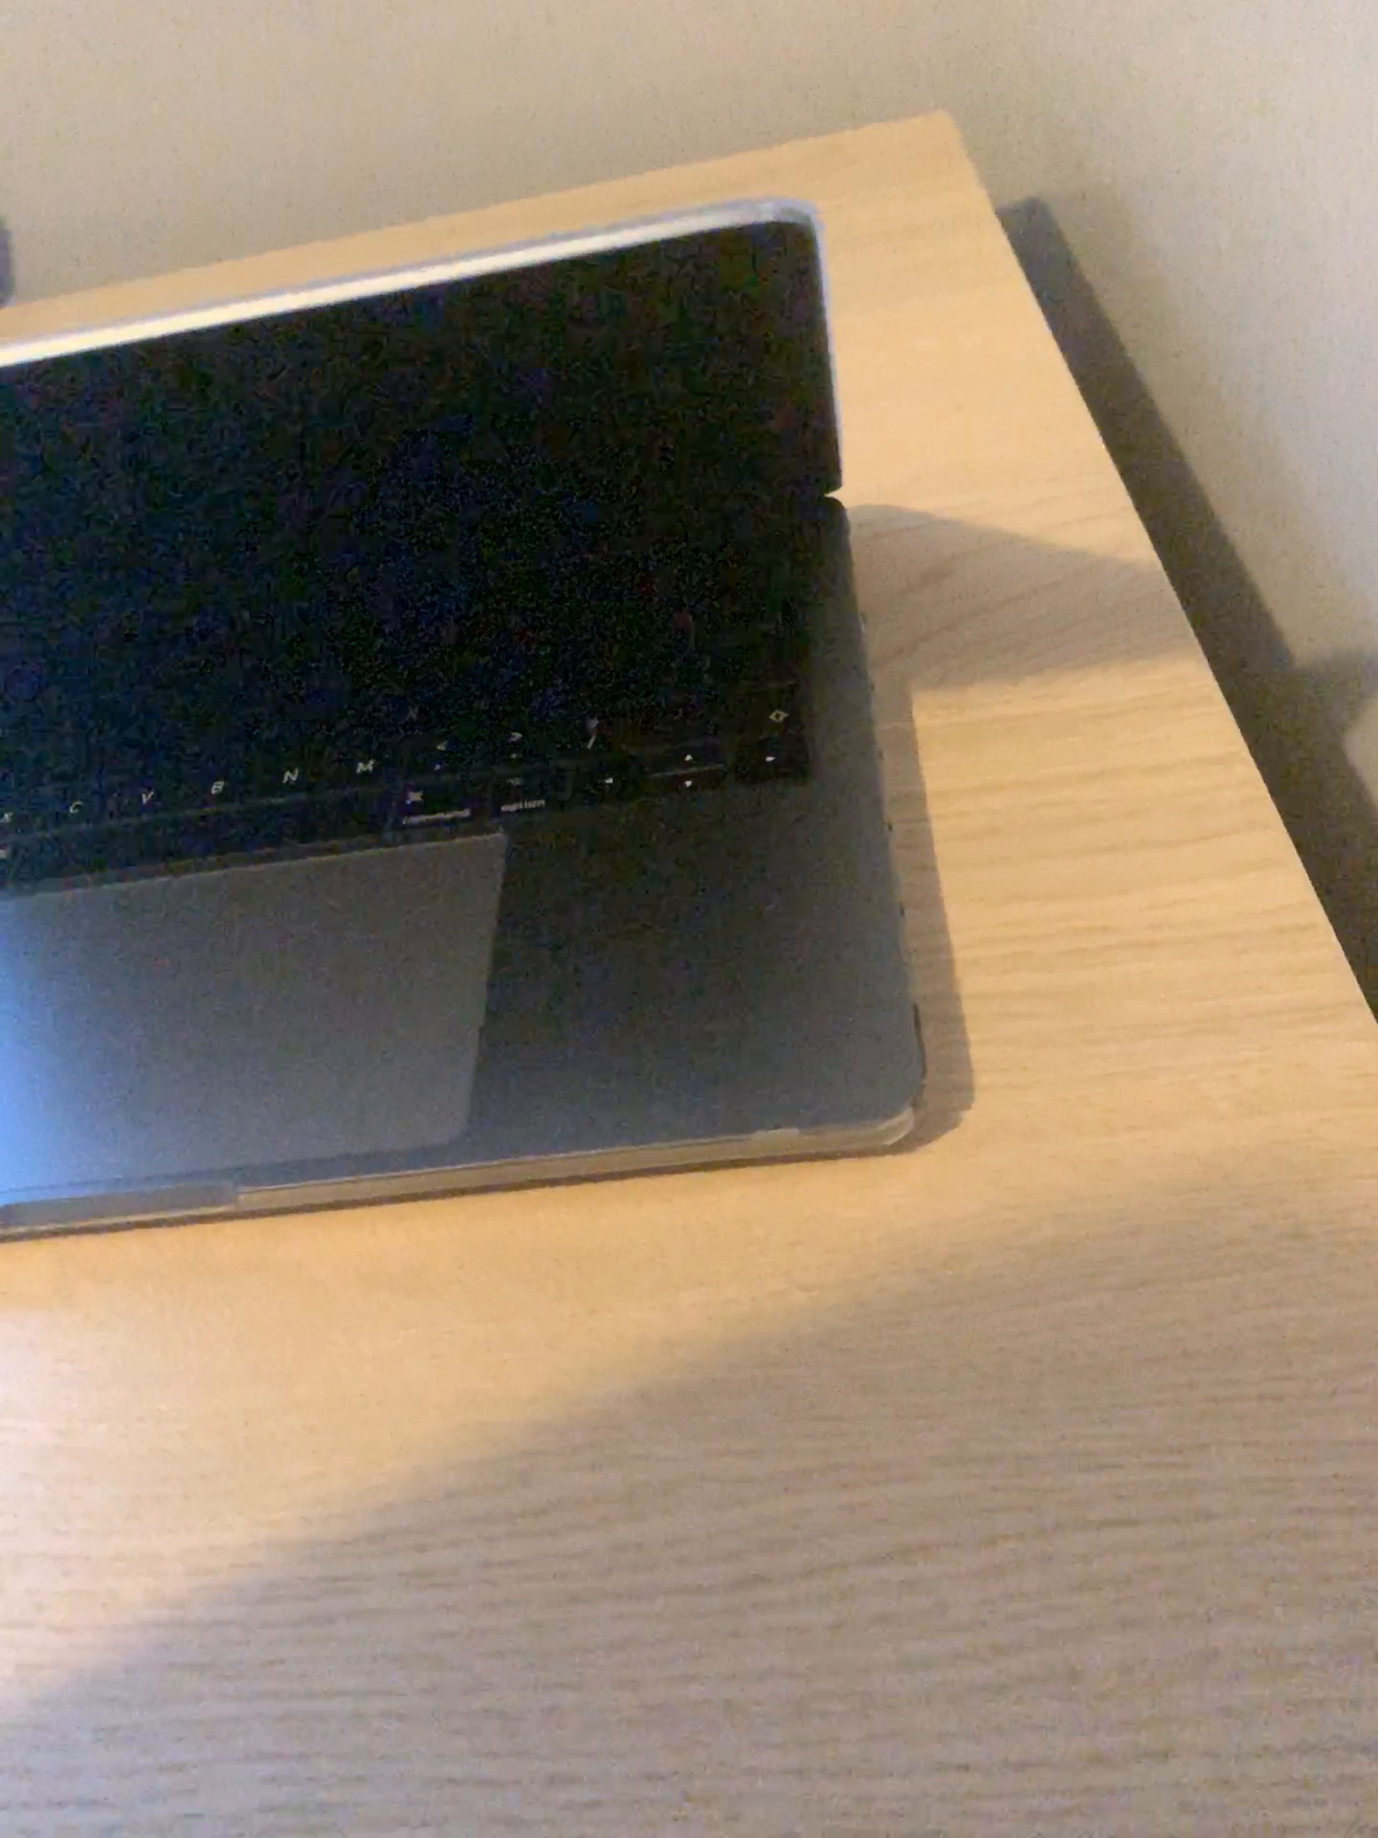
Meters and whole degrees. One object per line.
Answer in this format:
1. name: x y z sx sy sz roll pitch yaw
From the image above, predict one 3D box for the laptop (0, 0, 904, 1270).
1. laptop: -0.116 -0.068 0.284 0.290 0.130 0.205 -7 44 8
